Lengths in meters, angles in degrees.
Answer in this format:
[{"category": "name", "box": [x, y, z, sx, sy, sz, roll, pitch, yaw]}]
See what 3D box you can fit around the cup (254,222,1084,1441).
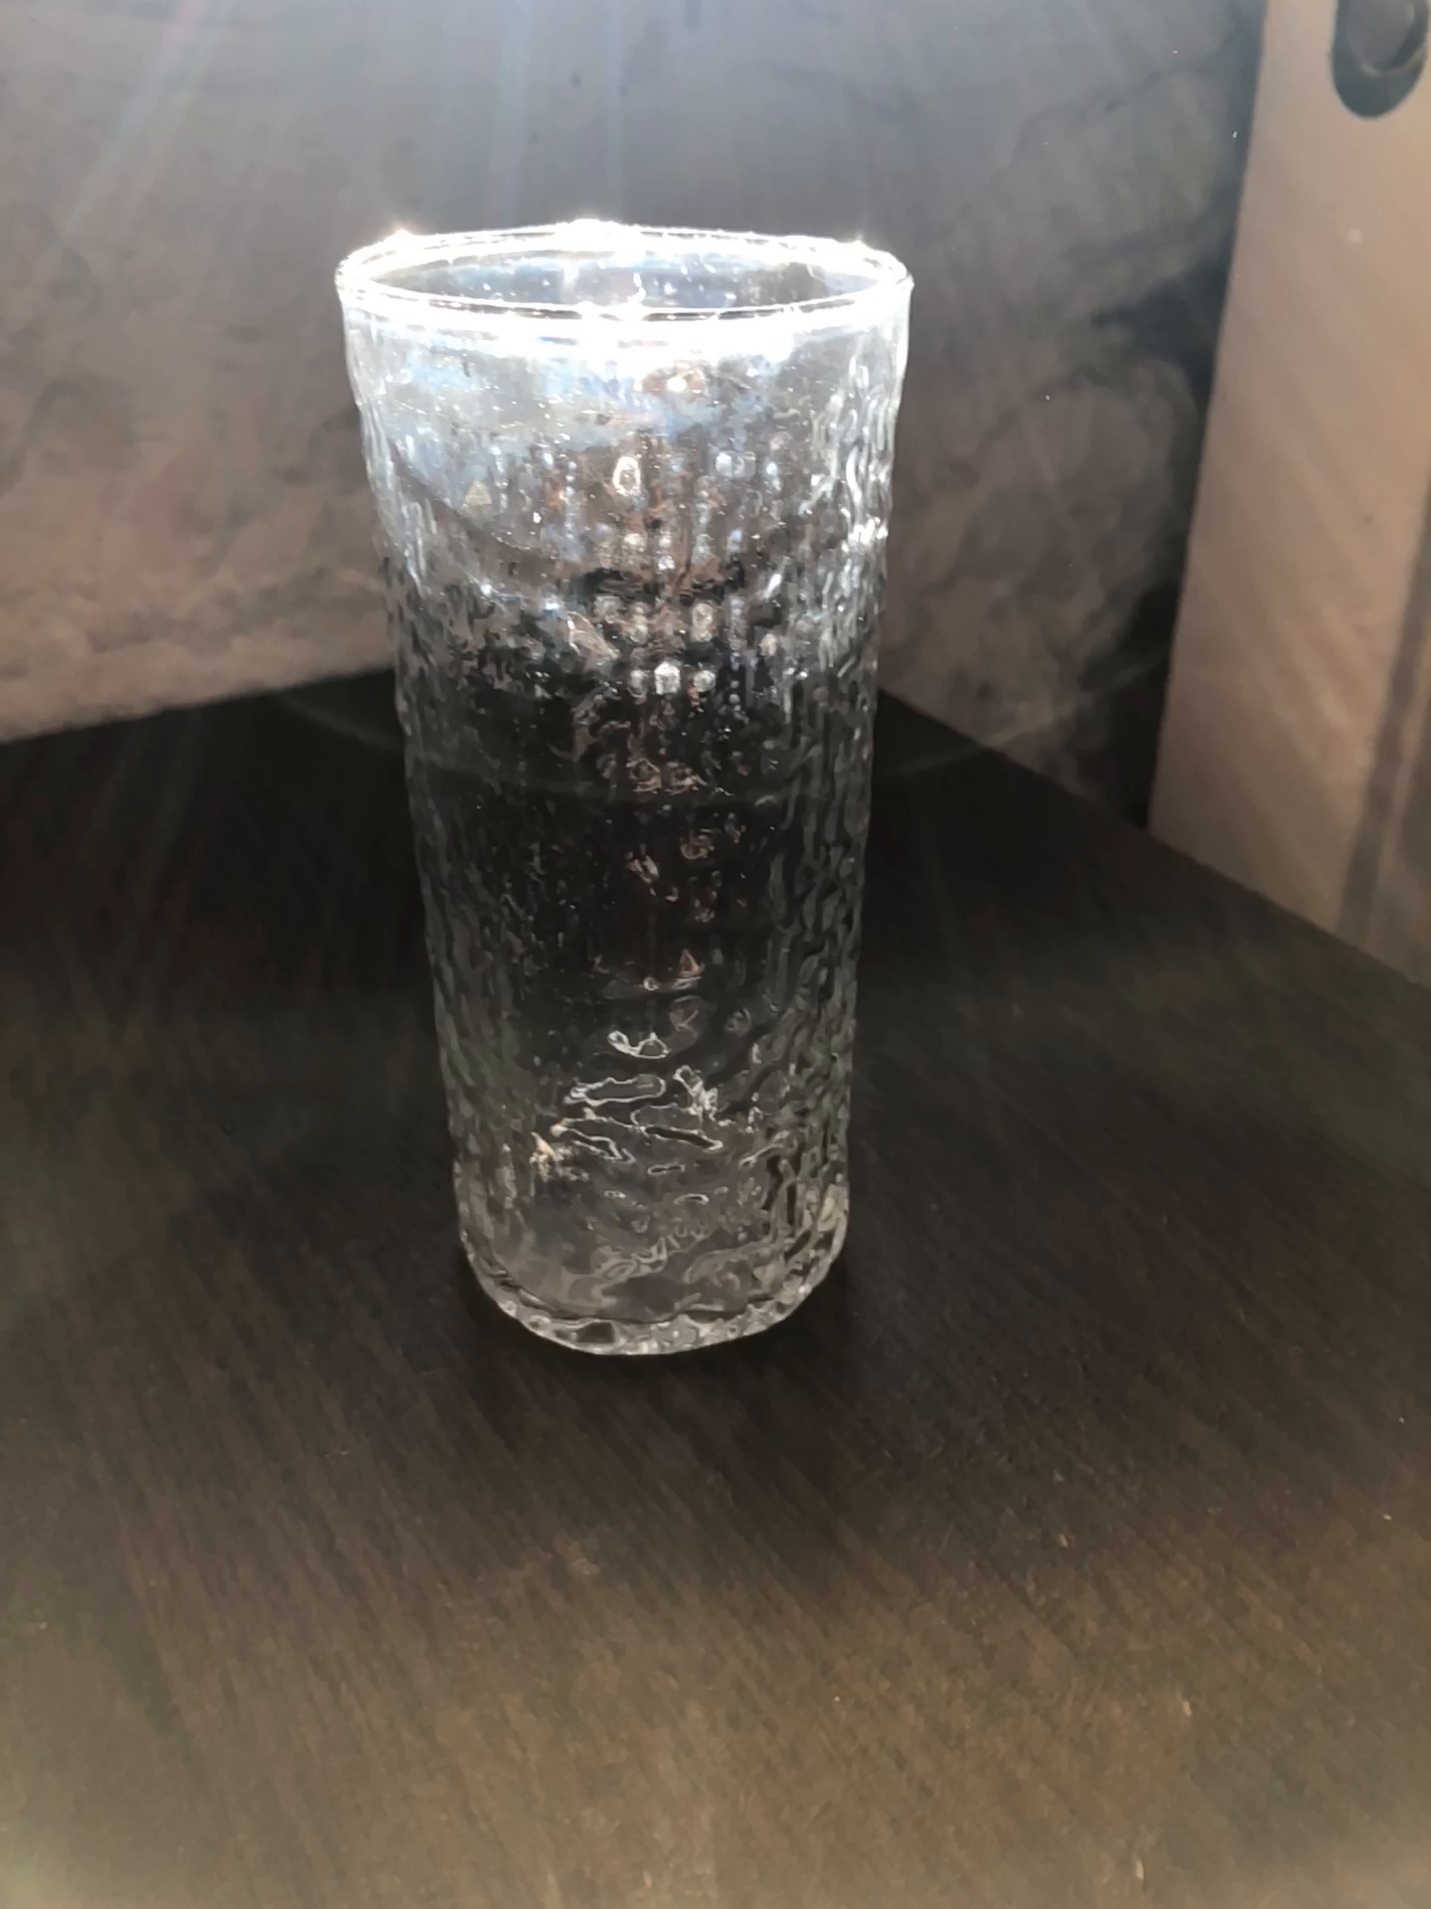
[{"category": "cup", "box": [-0.009, -0.019, 0.207, 0.070, 0.130, 0.068, 0, 29, 0]}]
